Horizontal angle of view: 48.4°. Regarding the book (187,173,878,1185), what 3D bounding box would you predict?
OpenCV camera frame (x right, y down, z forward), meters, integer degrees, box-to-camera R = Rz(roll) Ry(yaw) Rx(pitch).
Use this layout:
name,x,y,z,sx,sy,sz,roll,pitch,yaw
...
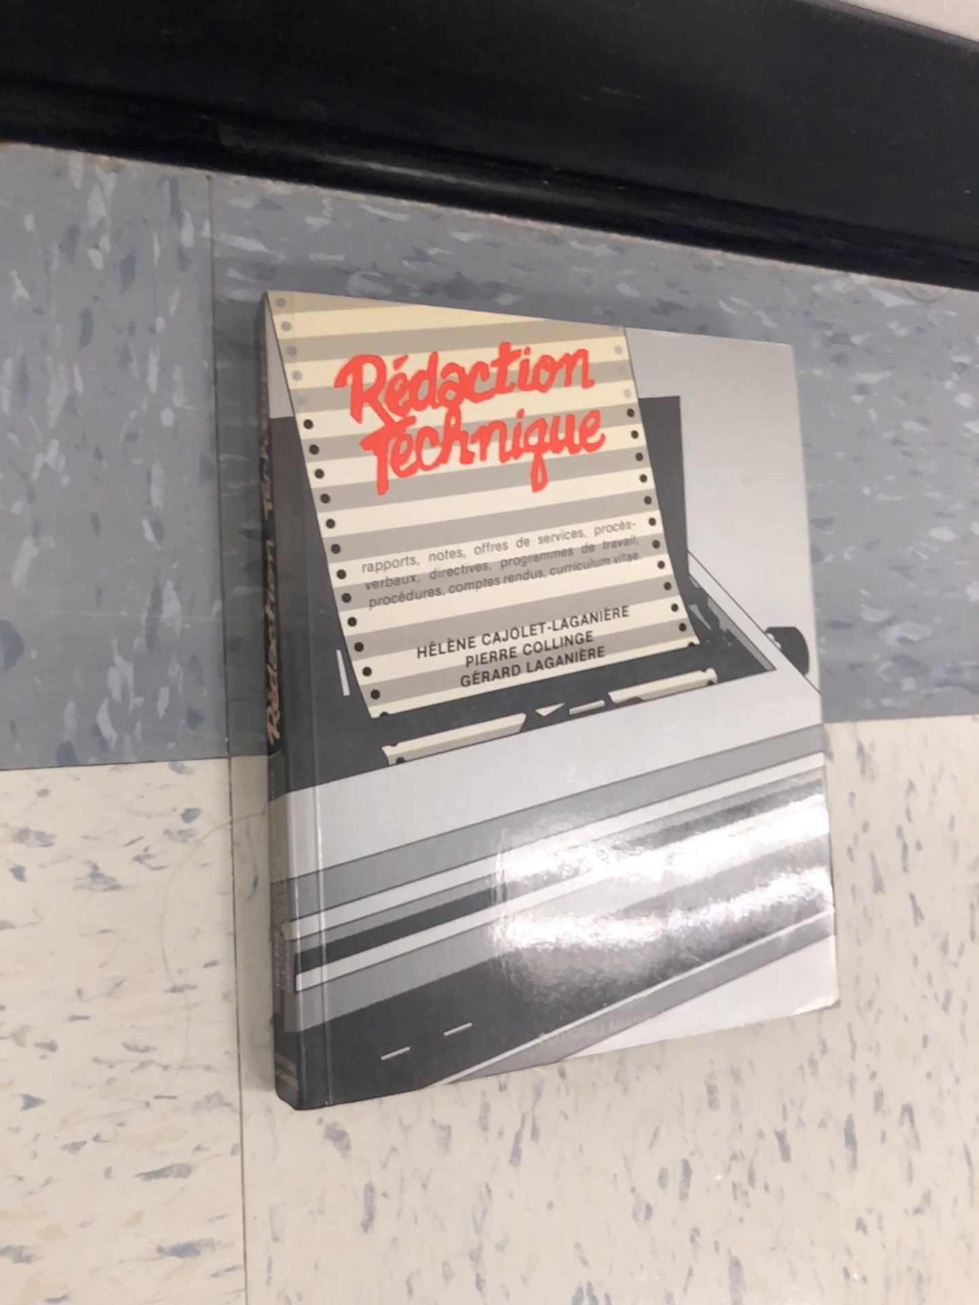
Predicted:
name,x,y,z,sx,sy,sz,roll,pitch,yaw
book,0.014,0.002,0.289,0.170,0.040,0.220,-2,86,-24
